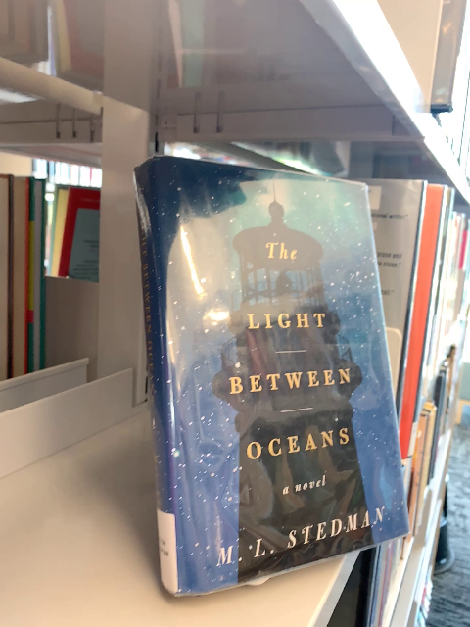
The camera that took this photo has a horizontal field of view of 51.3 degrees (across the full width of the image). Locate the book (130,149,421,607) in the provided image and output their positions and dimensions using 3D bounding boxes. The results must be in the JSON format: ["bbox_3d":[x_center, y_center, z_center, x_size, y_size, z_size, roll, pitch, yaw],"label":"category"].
[{"bbox_3d":[0.025,0.026,0.296,0.155,0.225,0.042,-1,-9,-27],"label":"book"}]
